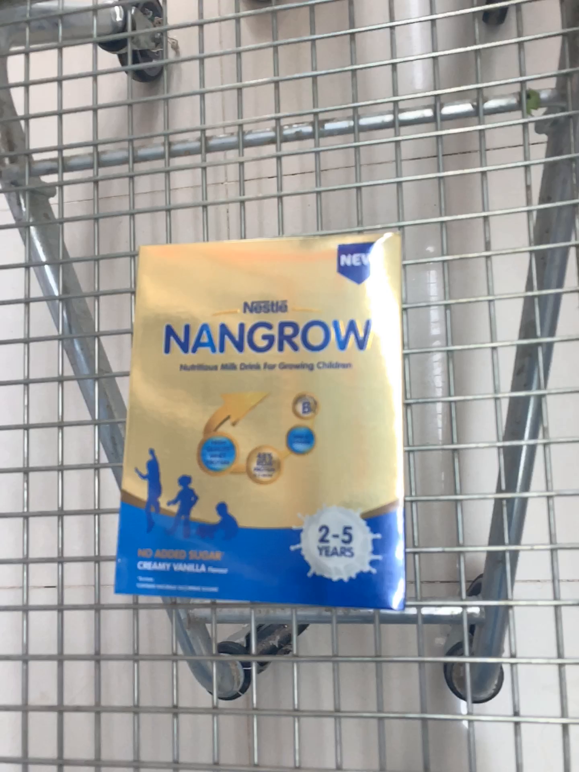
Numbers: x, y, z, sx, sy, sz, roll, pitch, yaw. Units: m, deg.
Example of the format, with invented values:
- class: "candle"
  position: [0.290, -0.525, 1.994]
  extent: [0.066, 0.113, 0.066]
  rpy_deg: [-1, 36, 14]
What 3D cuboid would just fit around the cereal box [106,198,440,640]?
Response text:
- class: "cereal box"
  position: [-0.004, 0.014, 0.295]
  extent: [0.150, 0.060, 0.190]
  rpy_deg: [0, 85, 11]
